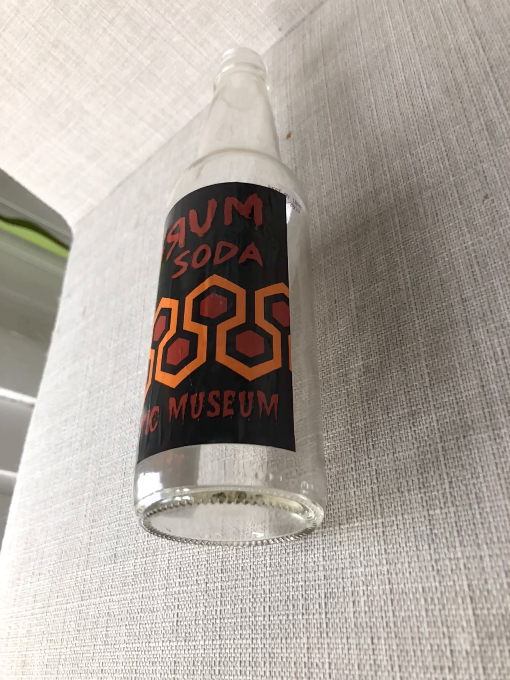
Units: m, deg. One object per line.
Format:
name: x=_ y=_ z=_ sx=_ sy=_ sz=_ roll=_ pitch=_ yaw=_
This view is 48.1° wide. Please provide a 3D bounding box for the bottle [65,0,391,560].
bottle: x=-0.010 y=-0.044 z=0.225 sx=0.063 sy=0.070 sz=0.231 roll=-30 pitch=49 yaw=38
